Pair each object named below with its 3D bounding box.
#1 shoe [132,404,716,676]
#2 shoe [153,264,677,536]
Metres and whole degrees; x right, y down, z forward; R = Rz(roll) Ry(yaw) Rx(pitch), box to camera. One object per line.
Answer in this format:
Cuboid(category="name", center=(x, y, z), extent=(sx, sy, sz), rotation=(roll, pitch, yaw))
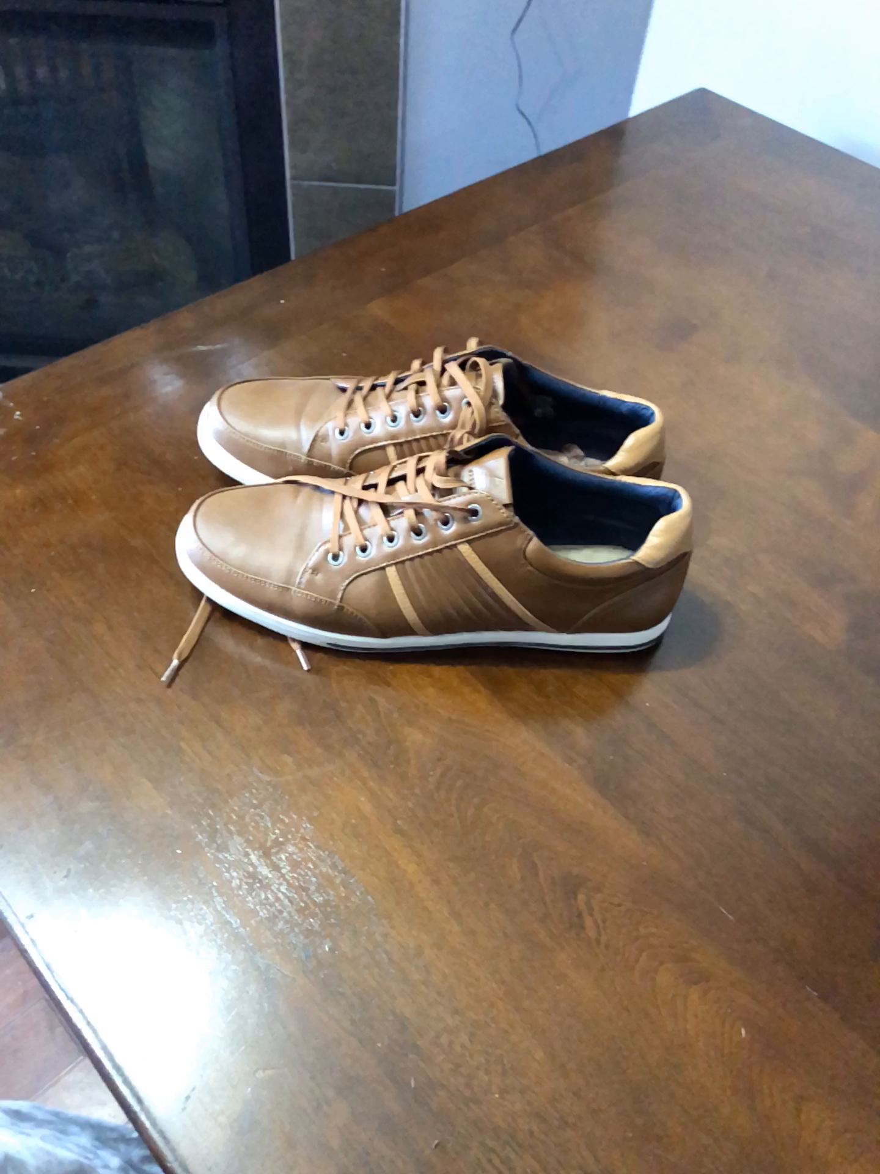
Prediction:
Cuboid(category="shoe", center=(-0.008, -0.027, 0.549), extent=(0.290, 0.080, 0.110), rotation=(4, 50, -2))
Cuboid(category="shoe", center=(-0.011, -0.116, 0.601), extent=(0.290, 0.080, 0.110), rotation=(7, 50, 1))
